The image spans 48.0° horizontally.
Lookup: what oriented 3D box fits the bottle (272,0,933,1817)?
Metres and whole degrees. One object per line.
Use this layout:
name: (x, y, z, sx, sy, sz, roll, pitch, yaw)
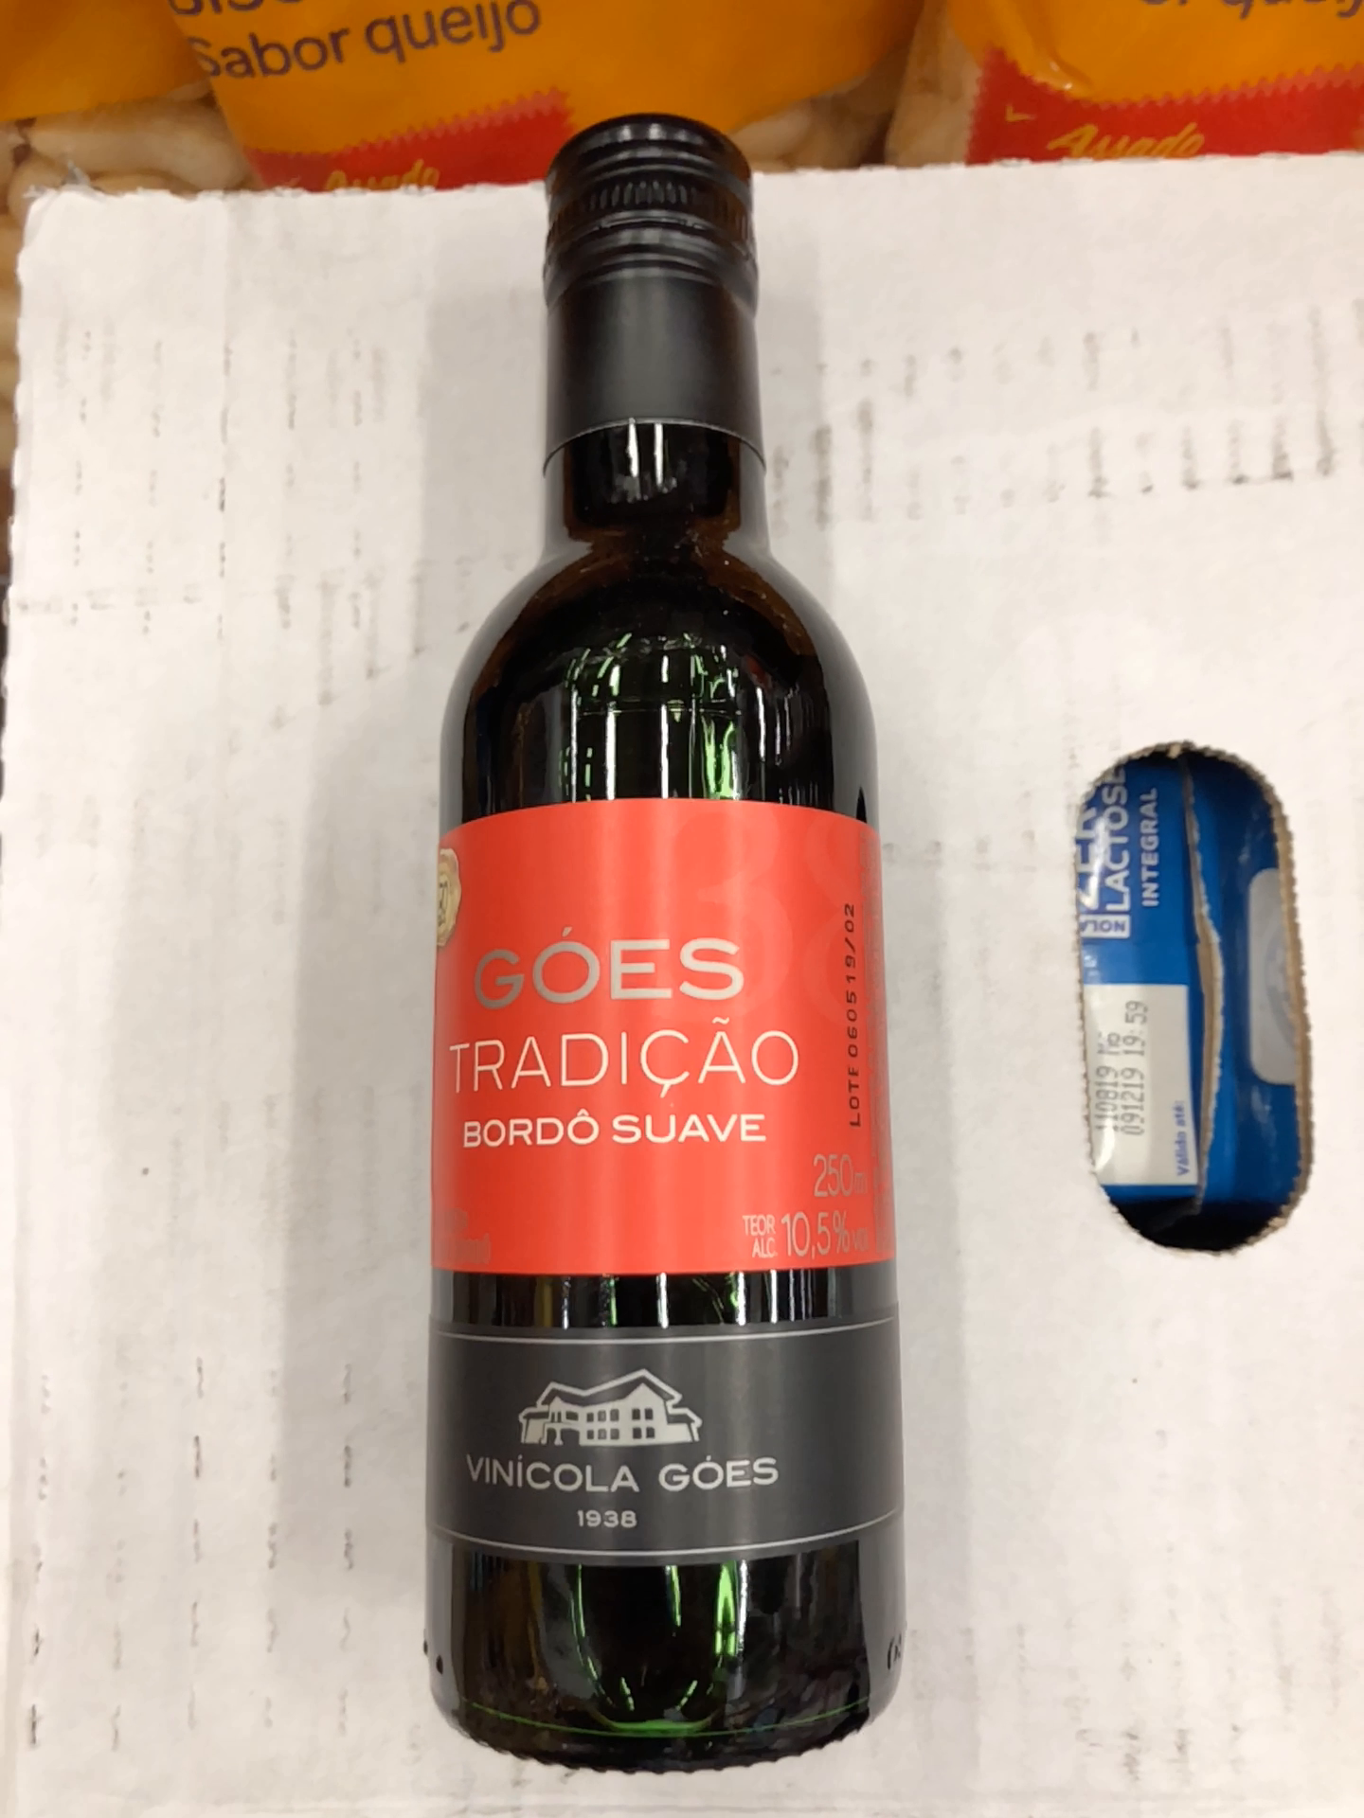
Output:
bottle: (-0.010, -0.015, 0.181, 0.060, 0.050, 0.210, -3, 80, 2)
